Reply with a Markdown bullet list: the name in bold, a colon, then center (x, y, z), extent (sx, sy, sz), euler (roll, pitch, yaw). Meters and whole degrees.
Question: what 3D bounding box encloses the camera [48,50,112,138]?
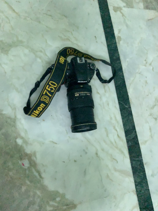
- **camera**: center (-0.008, -0.033, 0.485), extent (0.139, 0.100, 0.233), euler (-4, 74, -15)
